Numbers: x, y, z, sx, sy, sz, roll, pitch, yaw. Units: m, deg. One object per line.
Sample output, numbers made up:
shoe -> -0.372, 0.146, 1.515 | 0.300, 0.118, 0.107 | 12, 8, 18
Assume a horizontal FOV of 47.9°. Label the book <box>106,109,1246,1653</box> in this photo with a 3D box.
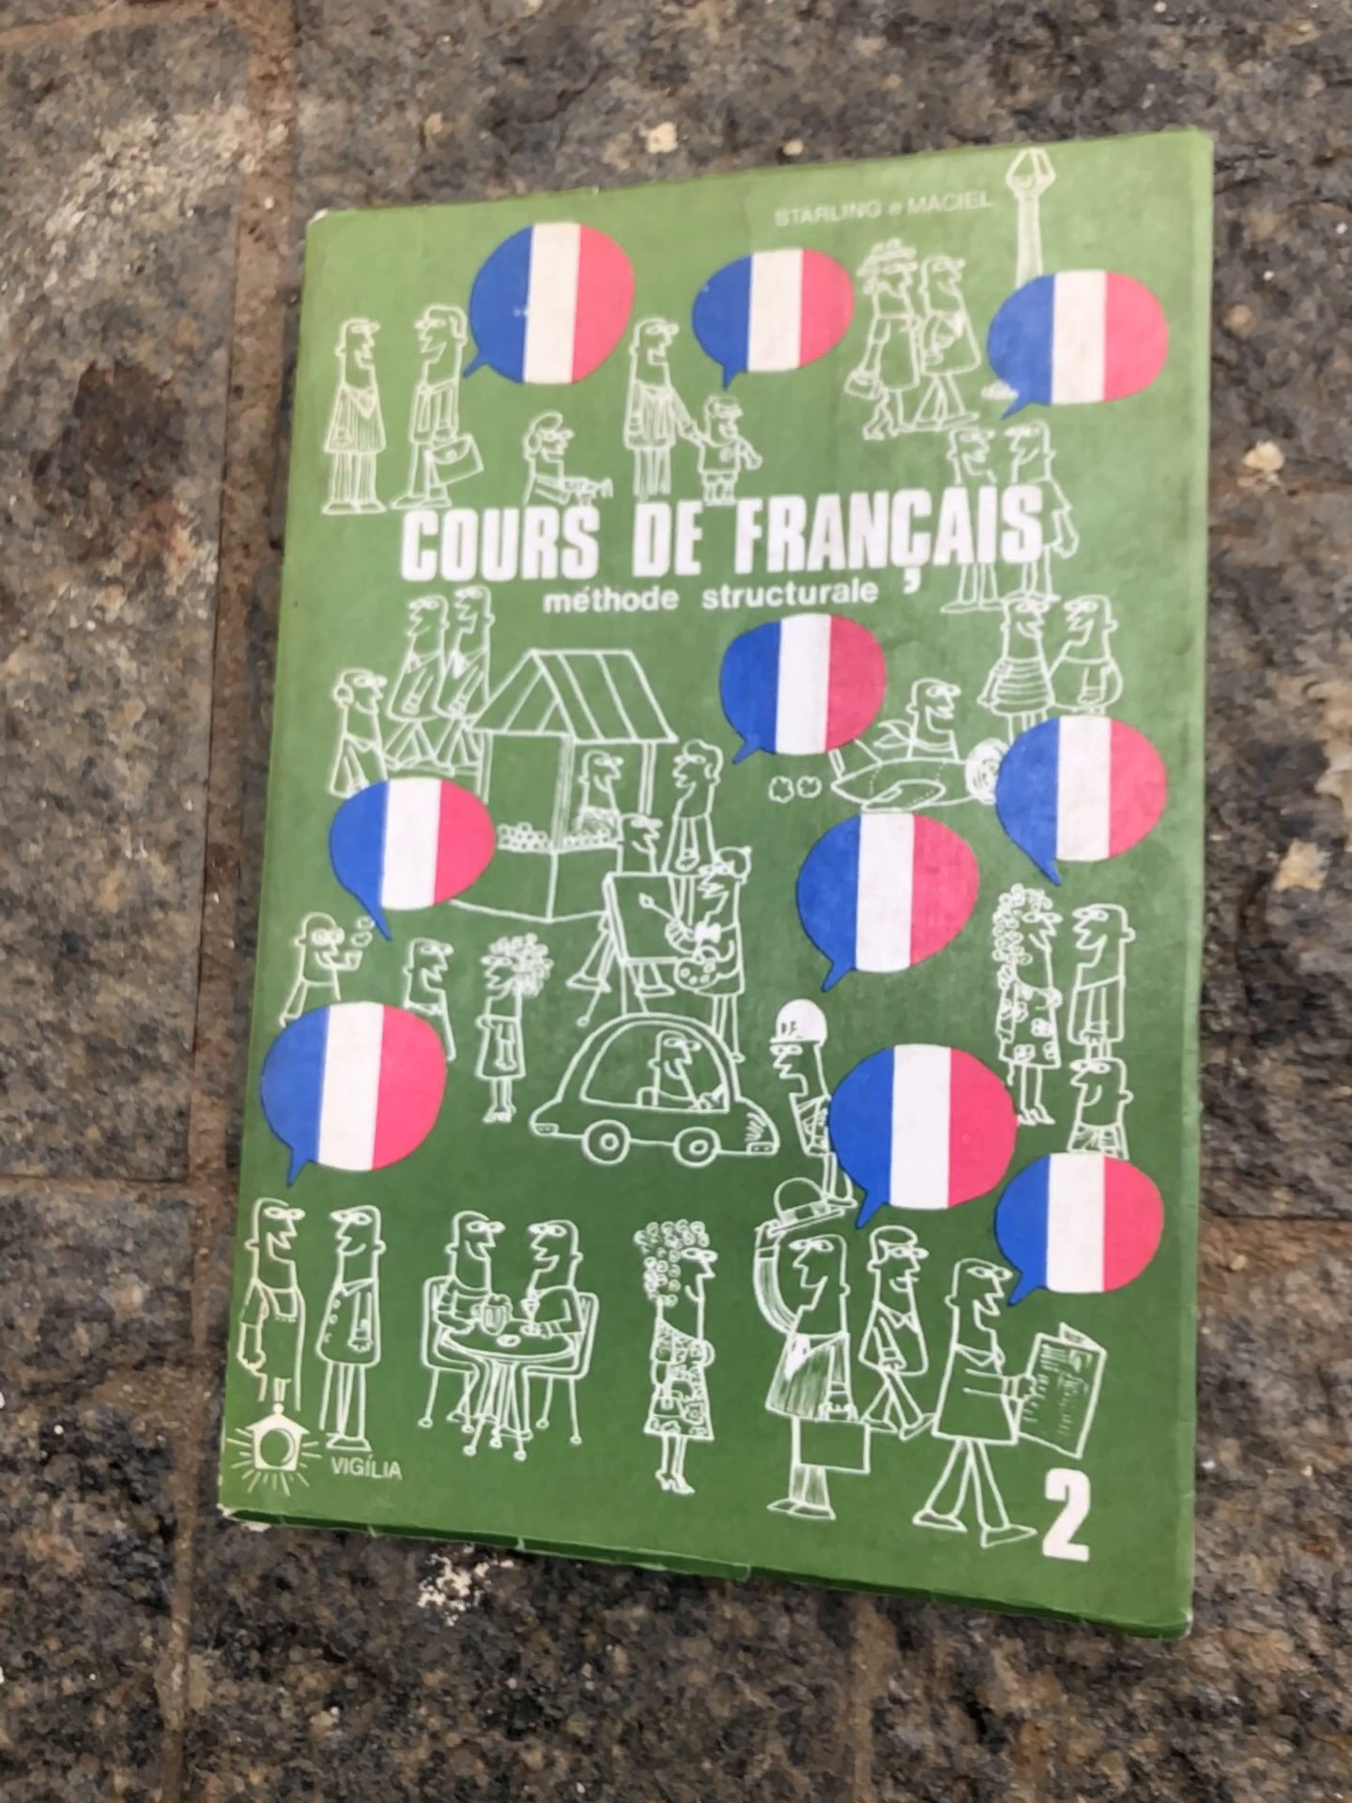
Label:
book -> -0.002, -0.009, 0.233 | 0.167, 0.013, 0.211 | 1, 84, 14
